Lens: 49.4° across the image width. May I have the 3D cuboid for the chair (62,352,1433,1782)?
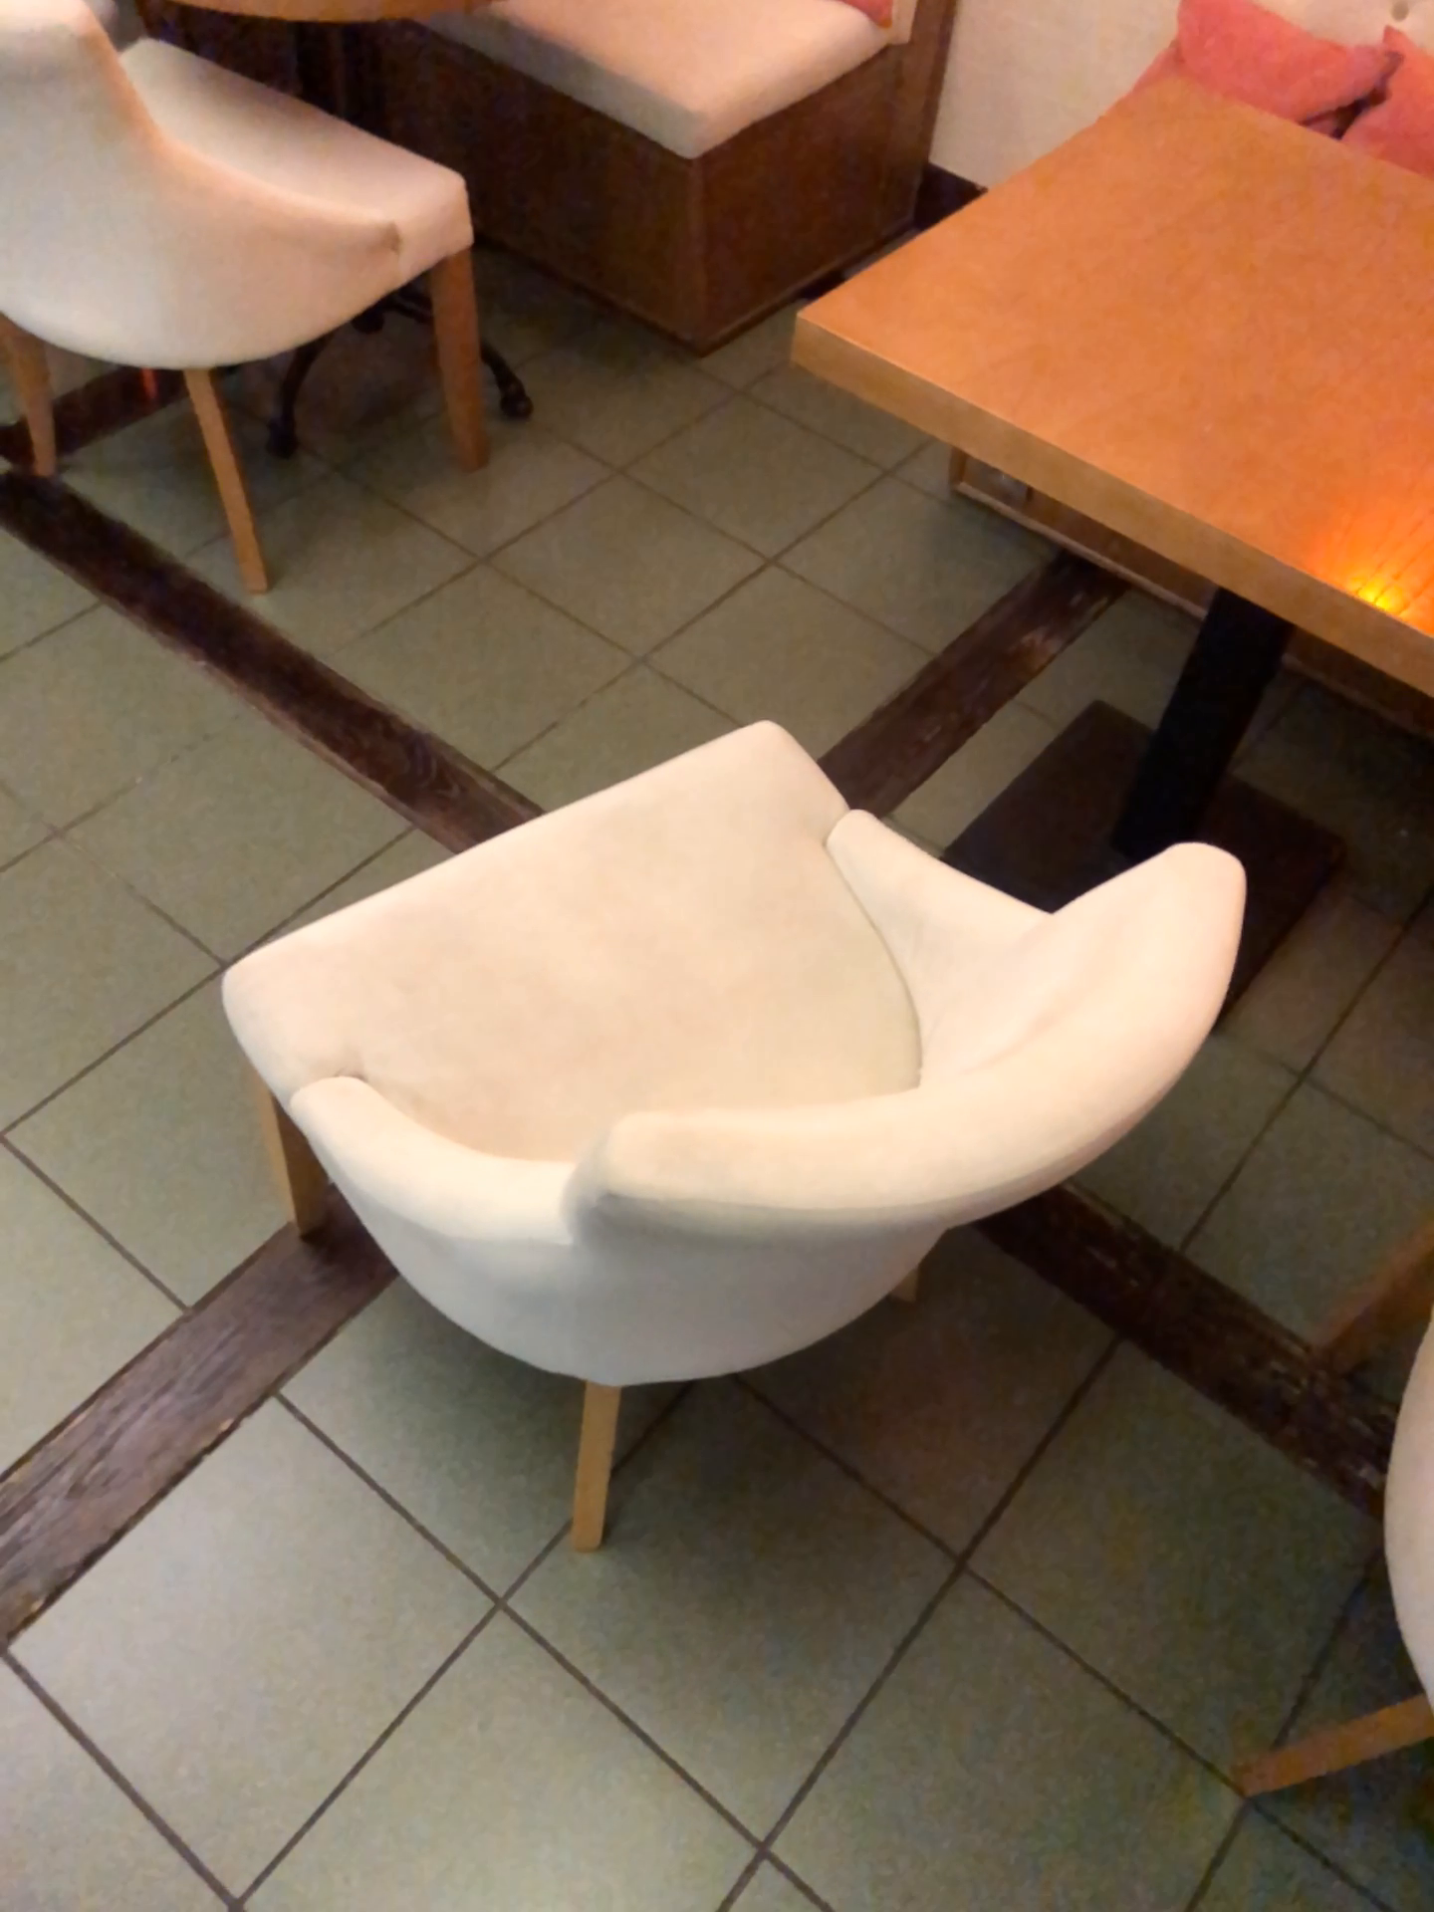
[{"bbox_3d":[0.004,0.095,1.265,0.631,0.737,0.662,-29,60,-24],"label":"chair"}]
